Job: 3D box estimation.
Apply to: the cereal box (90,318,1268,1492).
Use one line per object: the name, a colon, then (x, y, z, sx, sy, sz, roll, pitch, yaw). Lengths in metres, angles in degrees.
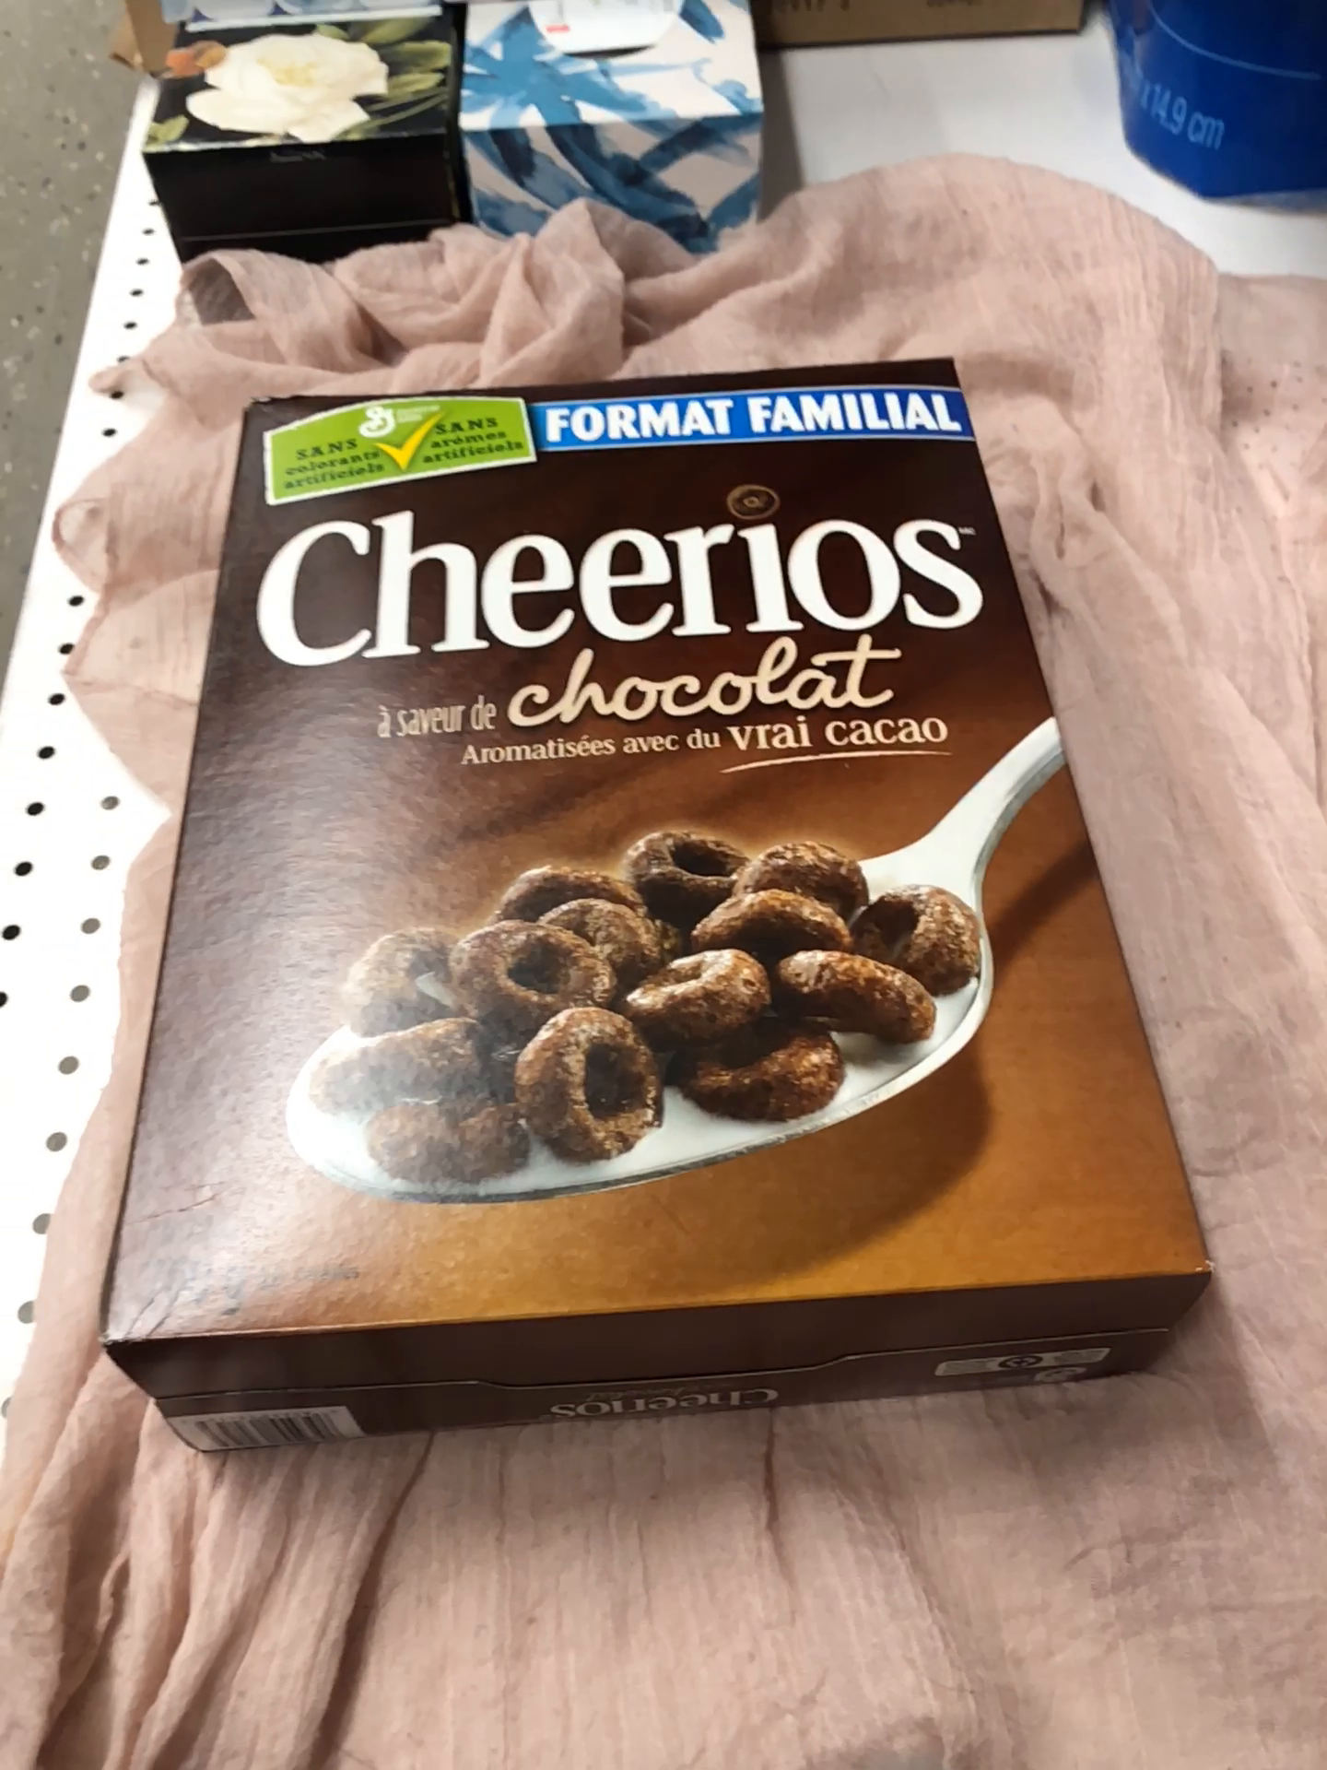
cereal box: (-0.005, -0.019, 0.422, 0.230, 0.090, 0.331, -4, 54, -1)
